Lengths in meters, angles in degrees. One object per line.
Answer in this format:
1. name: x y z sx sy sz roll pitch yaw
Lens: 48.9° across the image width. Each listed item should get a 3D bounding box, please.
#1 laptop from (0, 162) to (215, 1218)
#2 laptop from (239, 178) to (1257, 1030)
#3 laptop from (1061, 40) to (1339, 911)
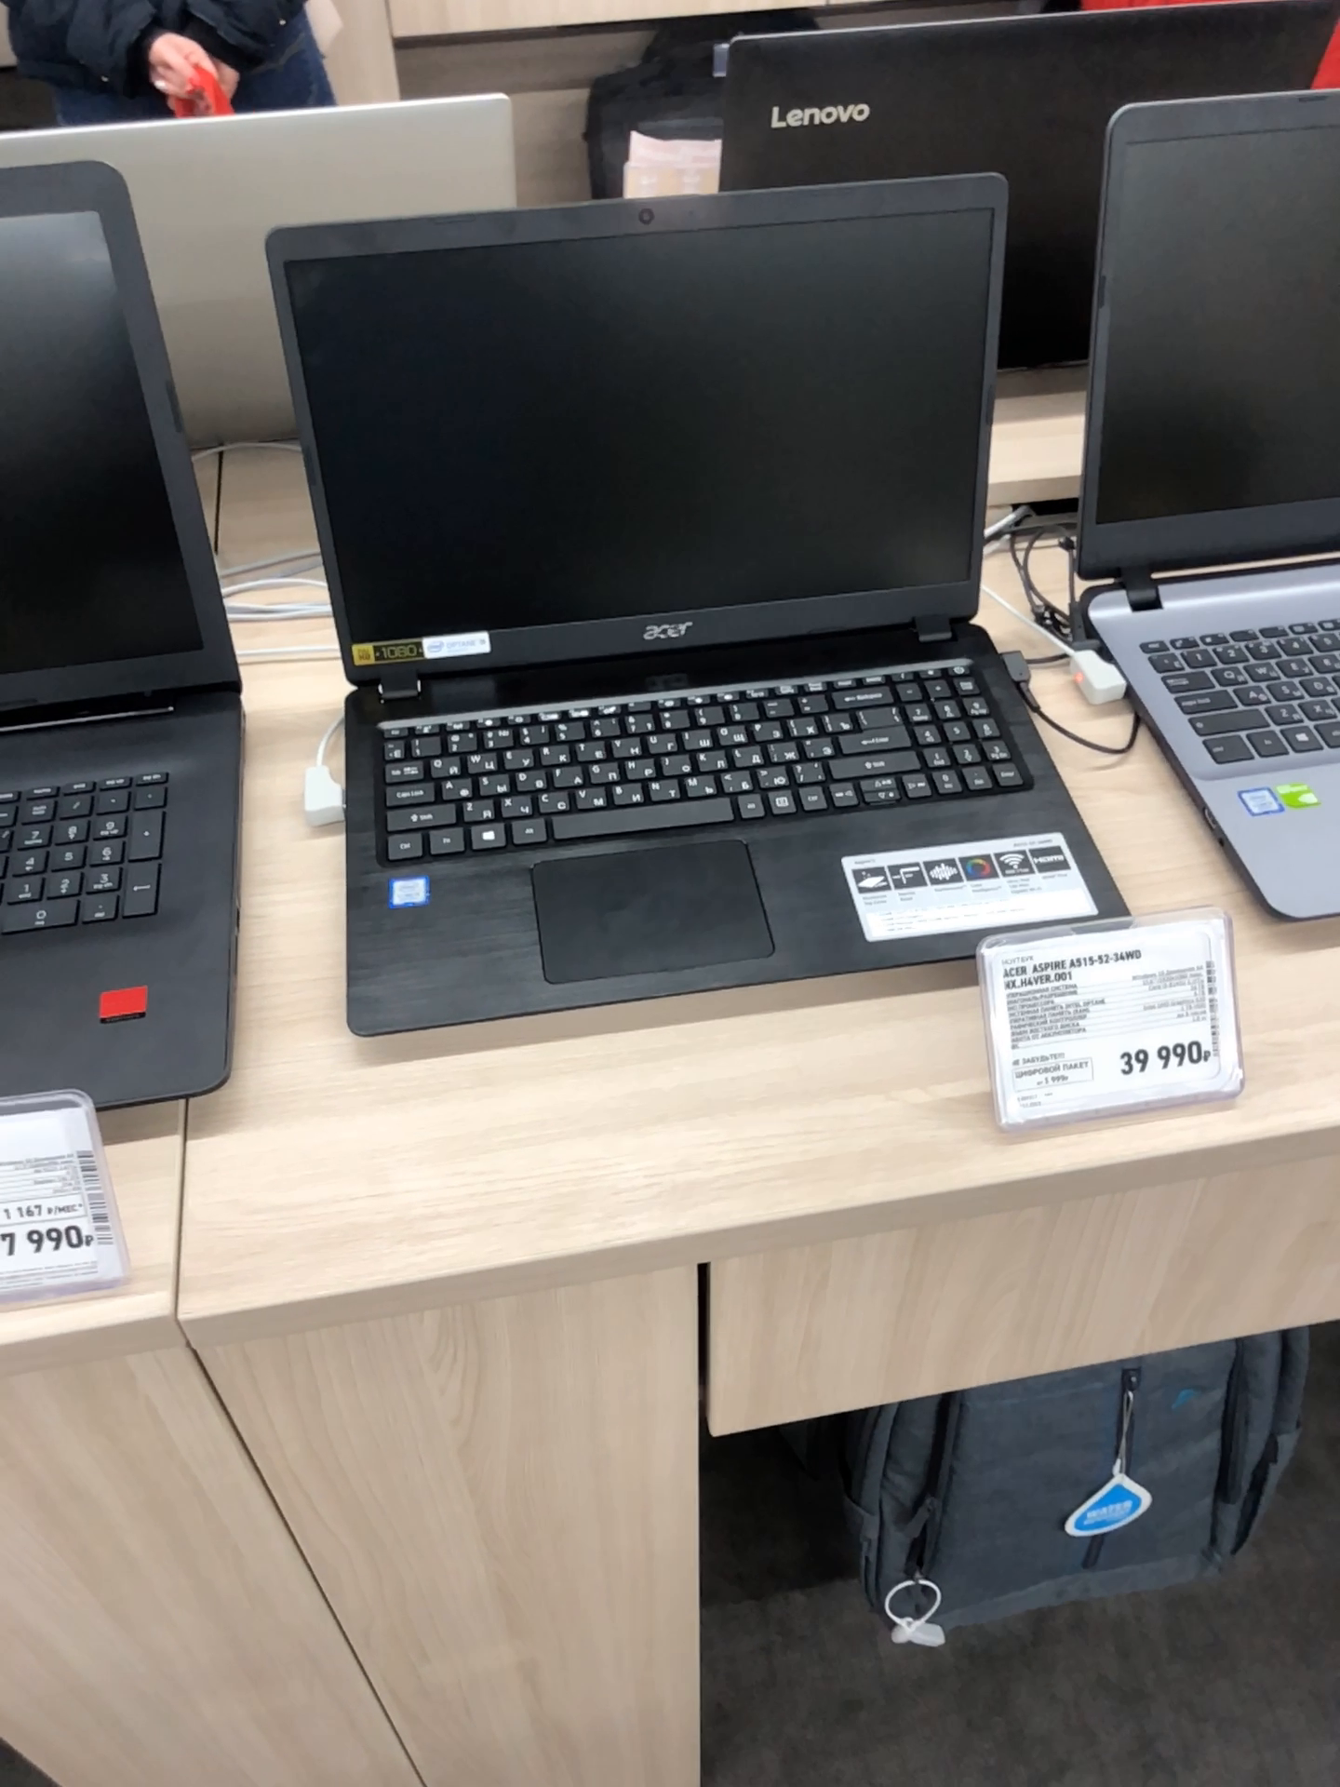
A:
1. laptop: -0.407 -0.106 0.607 0.353 0.226 0.346 -9 48 -11
2. laptop: 0.010 -0.143 0.670 0.346 0.219 0.292 -7 46 -6
3. laptop: 0.417 -0.212 0.708 0.326 0.219 0.326 -8 49 -4
